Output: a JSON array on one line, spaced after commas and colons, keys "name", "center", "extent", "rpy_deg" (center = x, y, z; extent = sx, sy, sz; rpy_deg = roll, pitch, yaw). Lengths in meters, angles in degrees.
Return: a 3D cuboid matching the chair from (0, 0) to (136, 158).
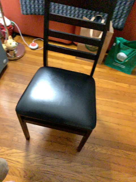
[{"name": "chair", "center": [-0.020, -0.050, 0.765], "extent": [0.490, 0.867, 0.552], "rpy_deg": [10, 56, 1]}]
